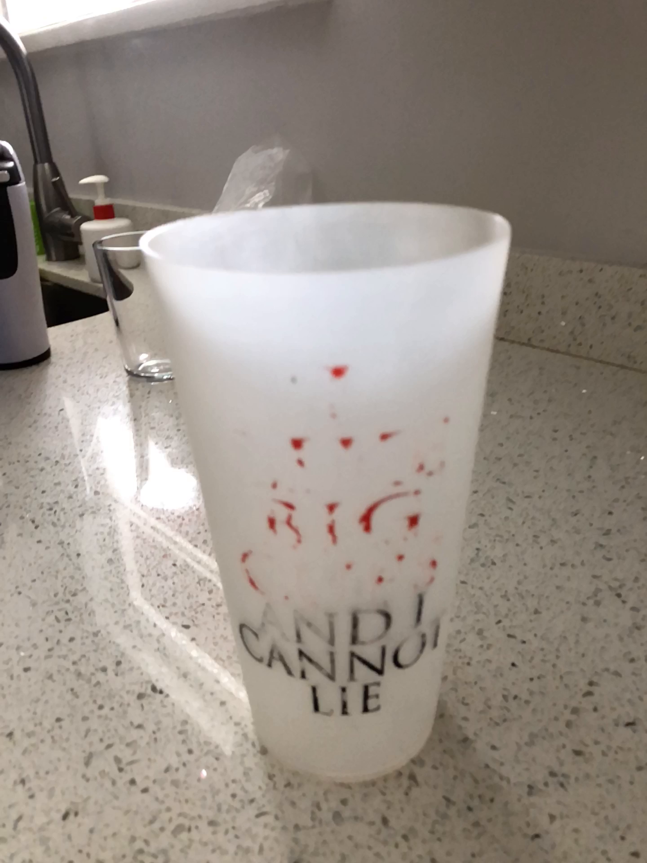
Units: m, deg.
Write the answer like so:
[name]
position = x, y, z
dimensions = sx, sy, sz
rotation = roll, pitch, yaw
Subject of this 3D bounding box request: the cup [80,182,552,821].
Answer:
[cup]
position = 0.000, 0.017, 0.220
dimensions = 0.096, 0.166, 0.094
rotation = -3, 24, 1
